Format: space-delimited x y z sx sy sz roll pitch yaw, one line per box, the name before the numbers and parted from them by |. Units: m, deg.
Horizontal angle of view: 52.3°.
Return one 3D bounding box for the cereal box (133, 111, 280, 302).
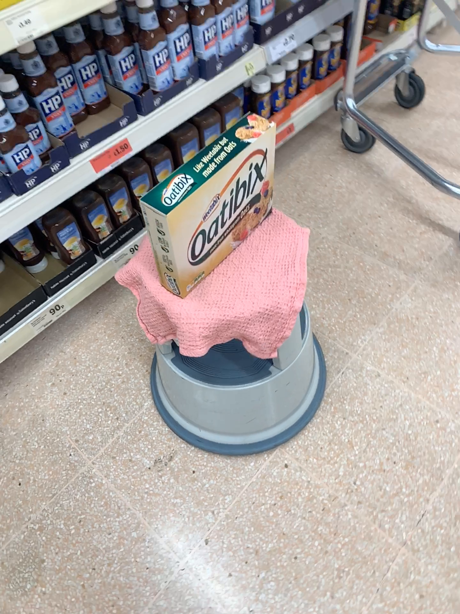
cereal box | -0.024 -0.165 0.779 0.060 0.189 0.271 32 62 23
